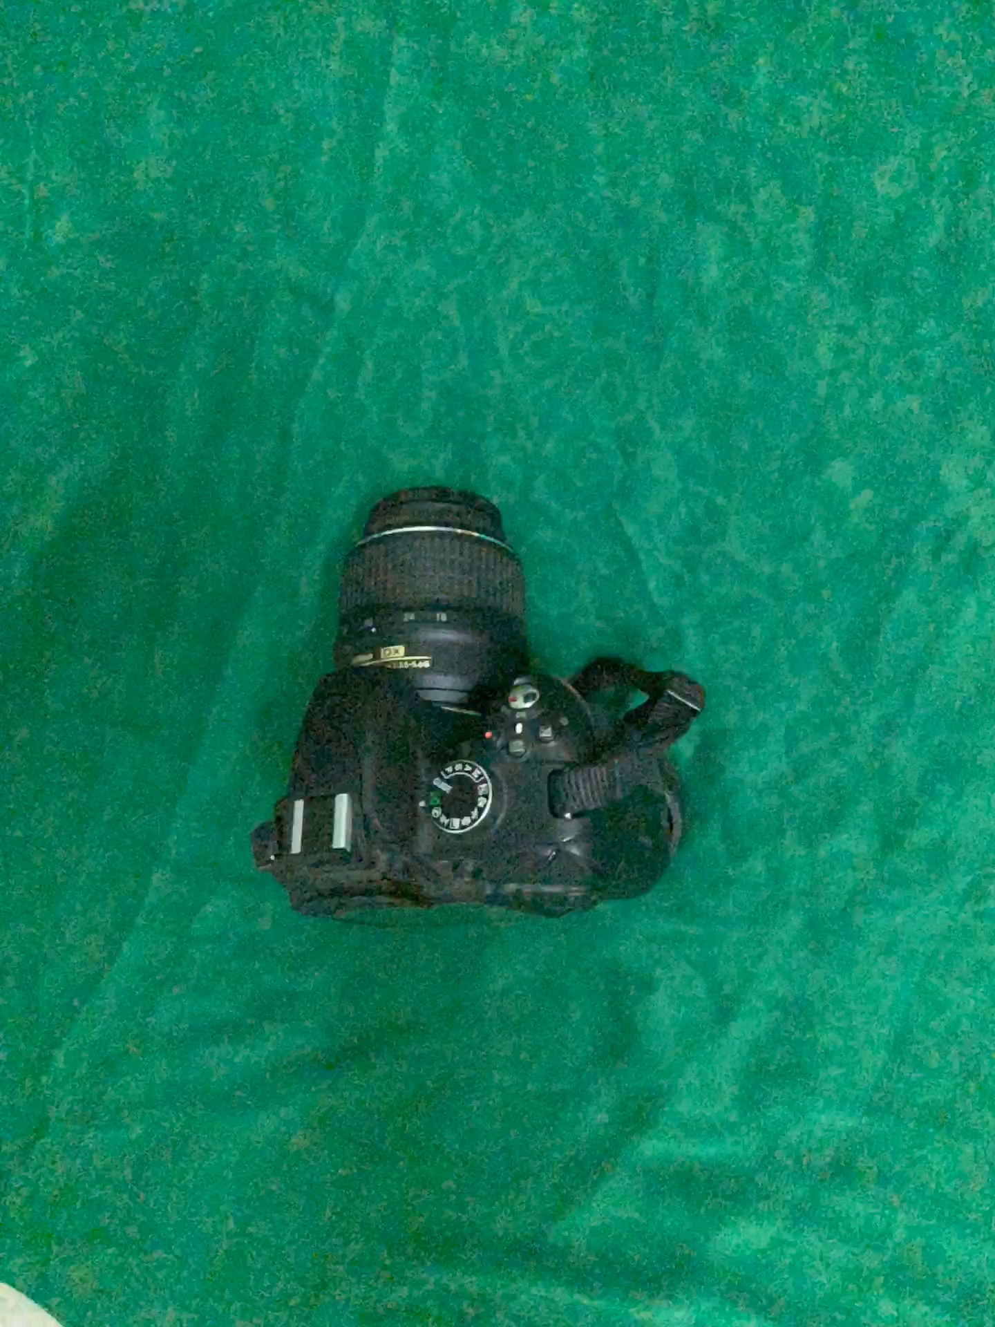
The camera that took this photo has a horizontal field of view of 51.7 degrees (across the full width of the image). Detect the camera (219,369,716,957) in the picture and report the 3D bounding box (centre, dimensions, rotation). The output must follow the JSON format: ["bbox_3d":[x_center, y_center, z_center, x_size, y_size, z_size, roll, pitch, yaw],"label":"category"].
[{"bbox_3d":[-0.012,0.013,0.364,0.133,0.100,0.166,-12,71,25],"label":"camera"}]
